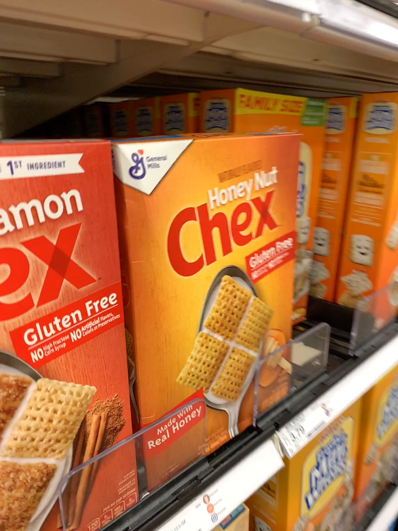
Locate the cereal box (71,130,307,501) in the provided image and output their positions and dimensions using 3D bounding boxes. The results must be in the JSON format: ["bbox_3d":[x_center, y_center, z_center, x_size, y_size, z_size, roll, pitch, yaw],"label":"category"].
[{"bbox_3d":[0.005,0.026,0.370,0.200,0.279,0.060,-17,25,-42],"label":"cereal box"}]
